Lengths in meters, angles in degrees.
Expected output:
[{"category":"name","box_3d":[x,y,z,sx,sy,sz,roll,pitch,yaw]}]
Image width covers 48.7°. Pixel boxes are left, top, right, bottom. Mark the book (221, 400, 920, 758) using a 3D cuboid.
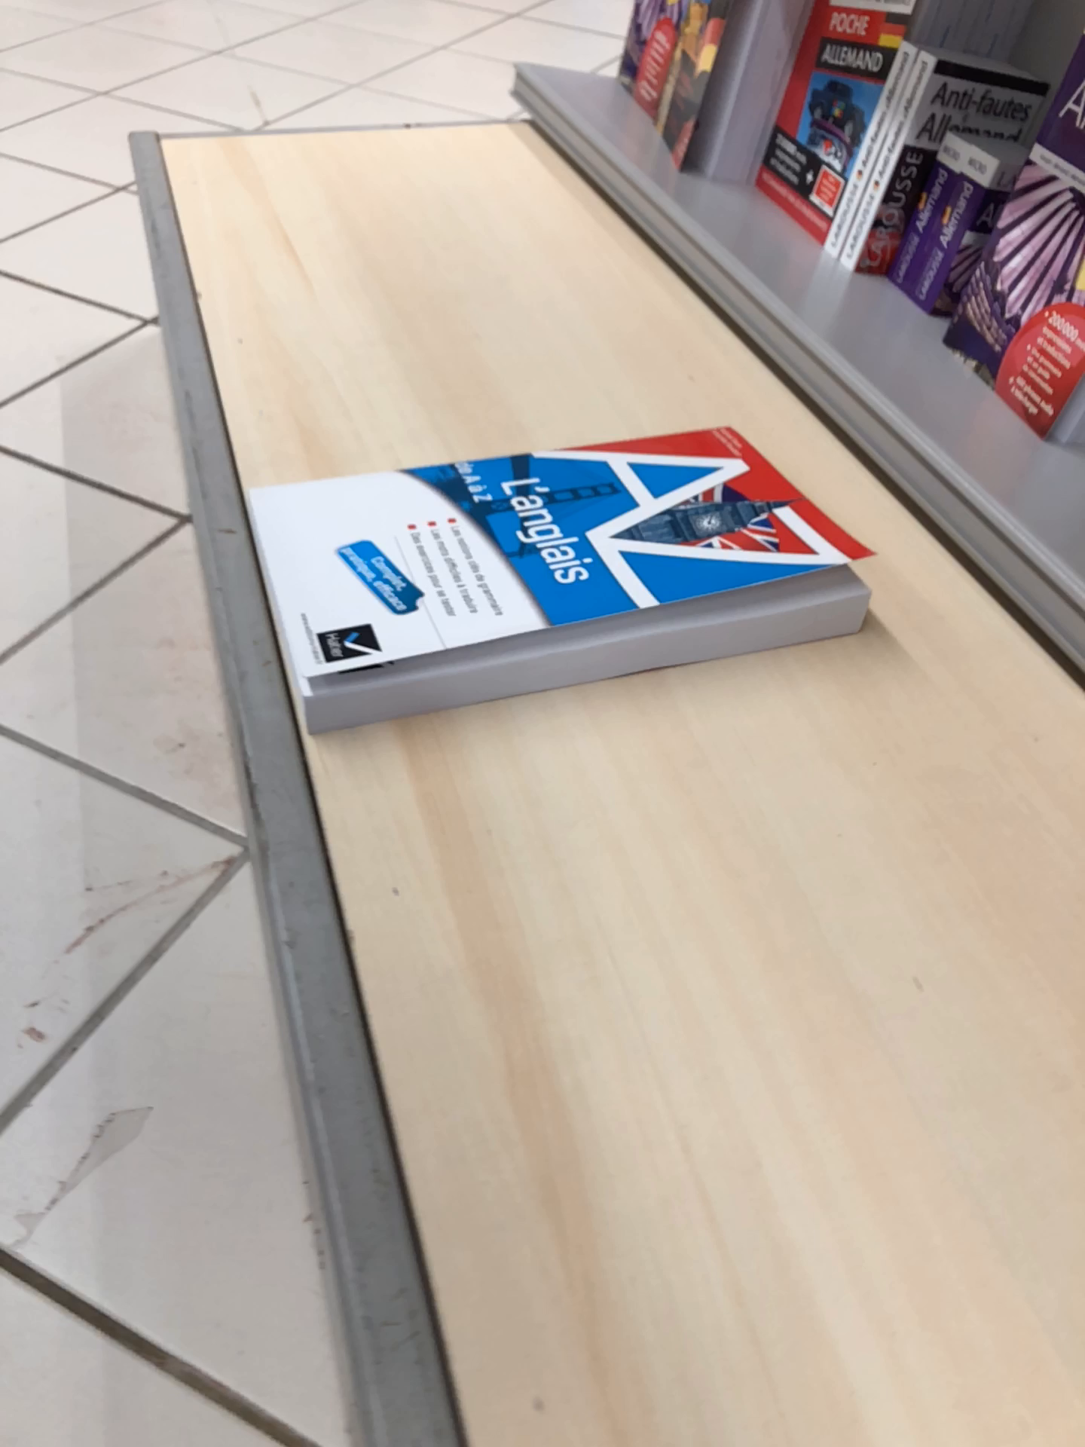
[{"category":"book","box_3d":[0.005,-0.067,0.468,0.235,0.030,0.143,-10,45,-16]}]
